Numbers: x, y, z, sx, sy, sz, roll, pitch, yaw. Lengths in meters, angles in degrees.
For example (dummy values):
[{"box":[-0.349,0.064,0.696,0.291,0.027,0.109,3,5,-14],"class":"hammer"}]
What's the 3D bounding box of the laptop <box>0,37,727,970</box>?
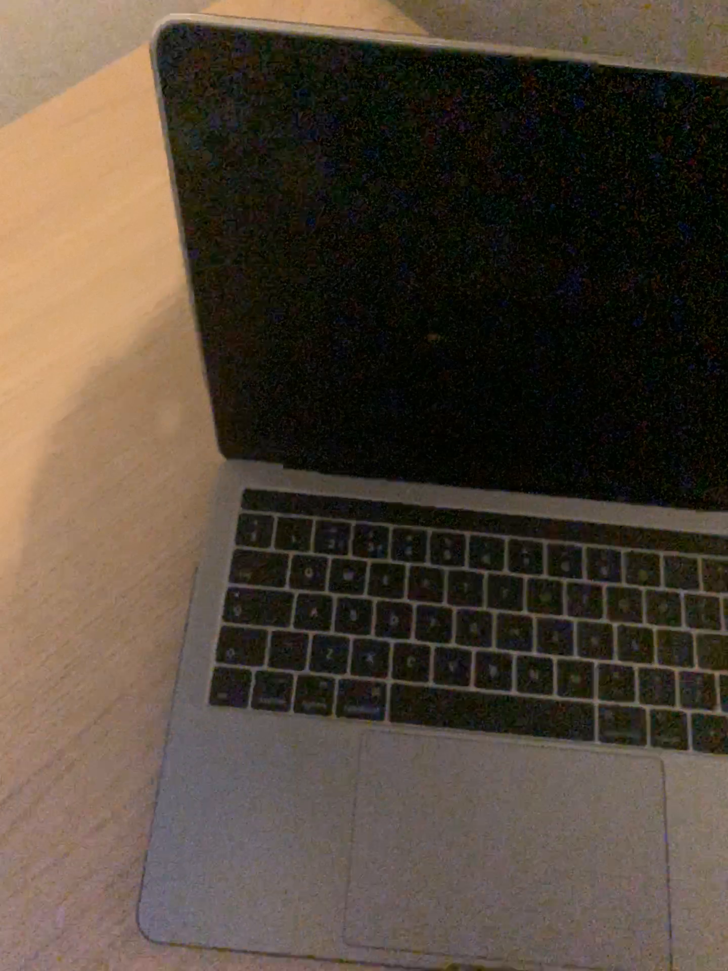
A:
[{"box":[0.073,0.040,0.262,0.294,0.198,0.257,6,69,1],"class":"laptop"}]
